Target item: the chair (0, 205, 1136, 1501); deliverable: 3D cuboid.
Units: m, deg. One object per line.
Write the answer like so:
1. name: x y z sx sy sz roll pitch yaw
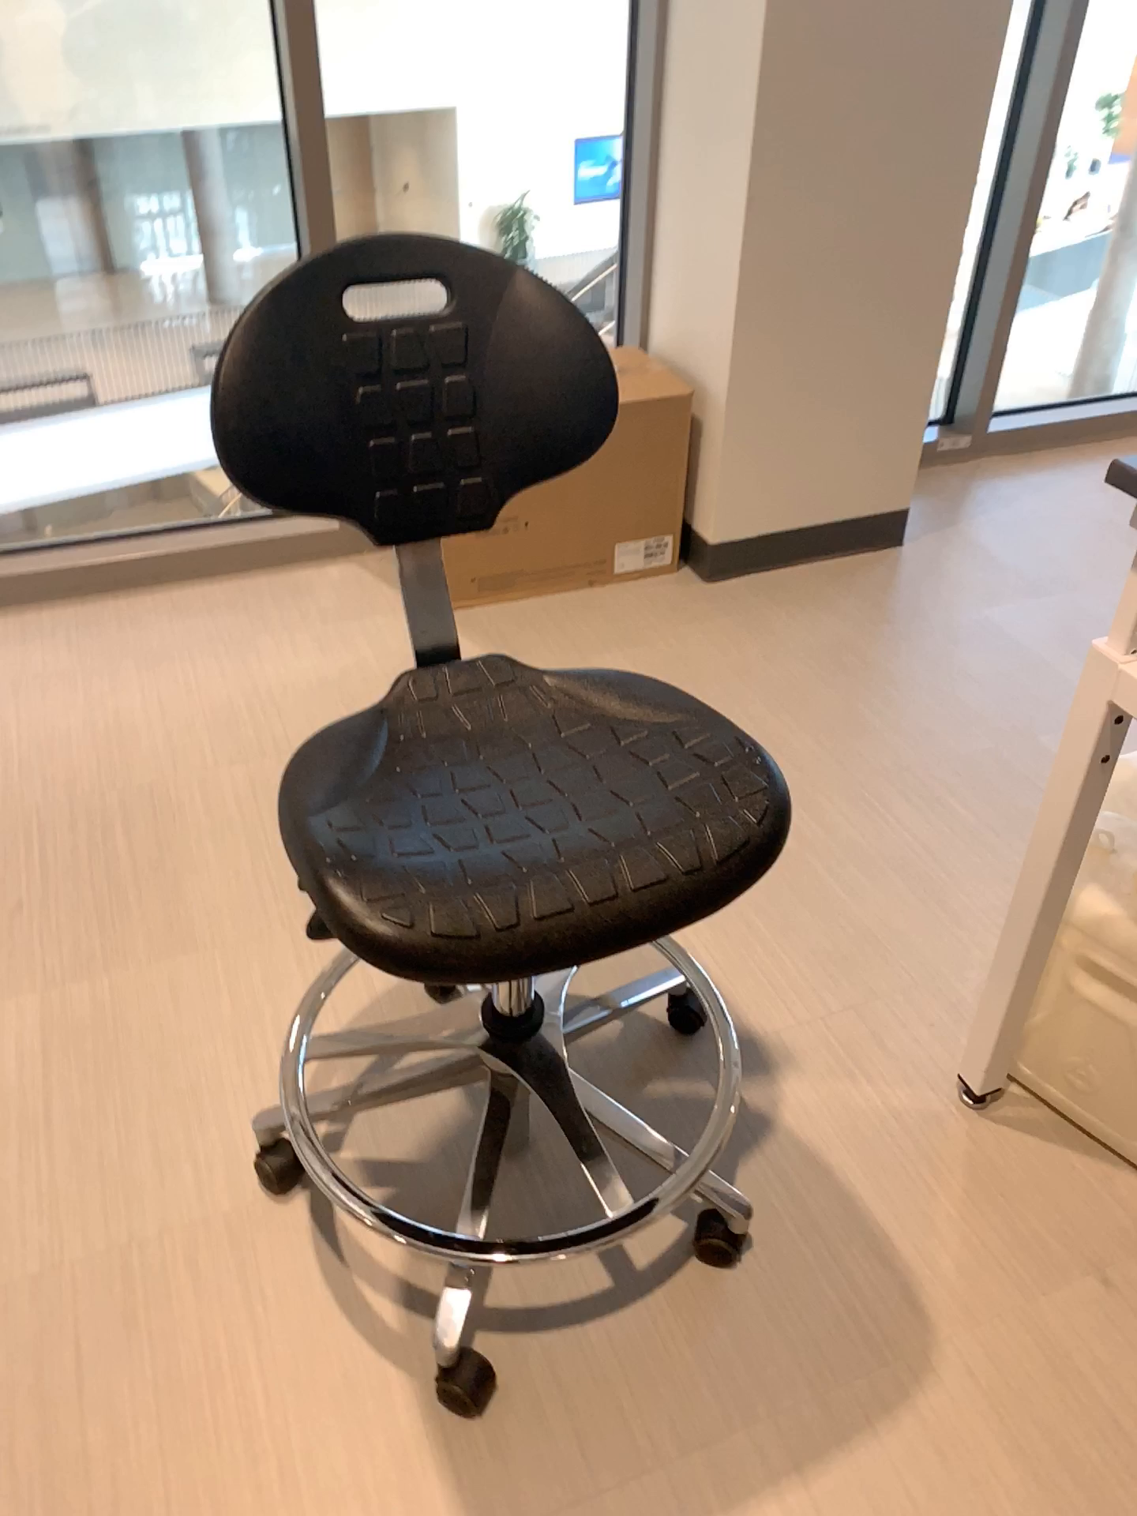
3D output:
1. chair: -0.056 0.046 1.187 0.672 0.961 0.664 -18 40 -24
